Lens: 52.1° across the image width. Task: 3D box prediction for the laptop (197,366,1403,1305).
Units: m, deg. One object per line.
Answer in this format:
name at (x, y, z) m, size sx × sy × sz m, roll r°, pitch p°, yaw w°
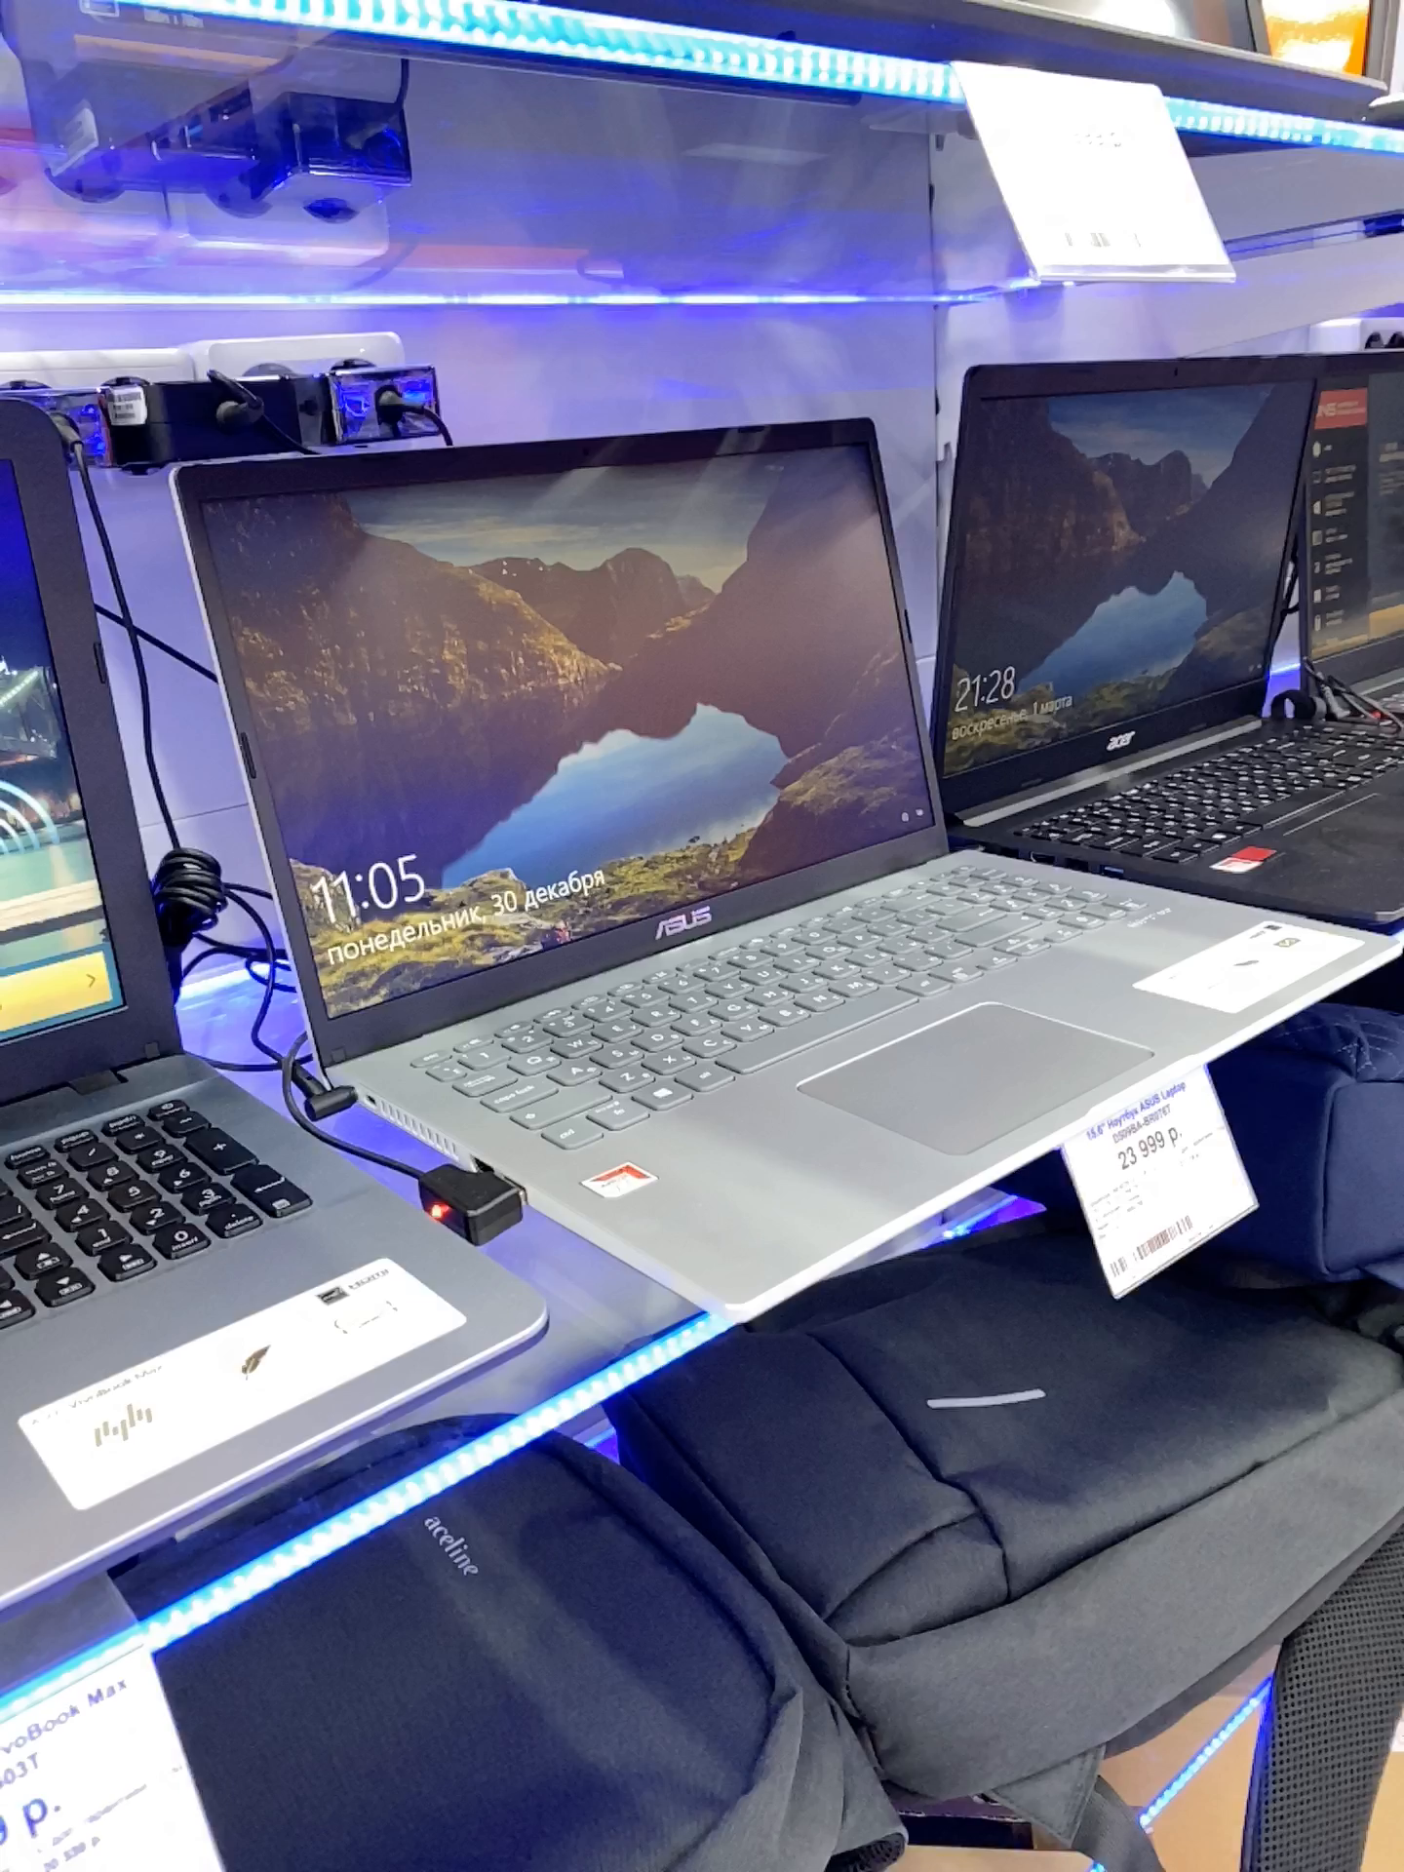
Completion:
laptop at (0.053, -0.082, 0.547) m, size 0.360 × 0.216 × 0.286 m, roll -18°, pitch 22°, yaw -36°
